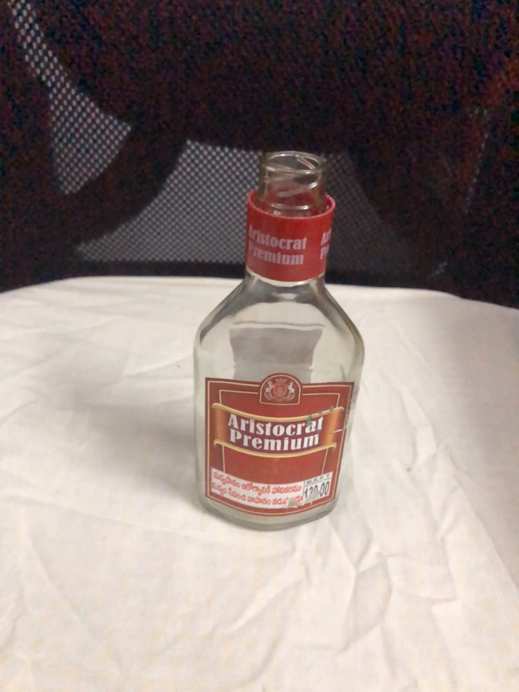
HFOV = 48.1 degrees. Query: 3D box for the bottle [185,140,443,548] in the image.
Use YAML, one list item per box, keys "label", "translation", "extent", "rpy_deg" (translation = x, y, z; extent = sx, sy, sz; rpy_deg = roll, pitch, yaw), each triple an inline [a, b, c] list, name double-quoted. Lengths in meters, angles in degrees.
- label: "bottle"
  translation: [0.010, 0.013, 0.247]
  extent: [0.080, 0.179, 0.040]
  rpy_deg: [3, 36, -3]
